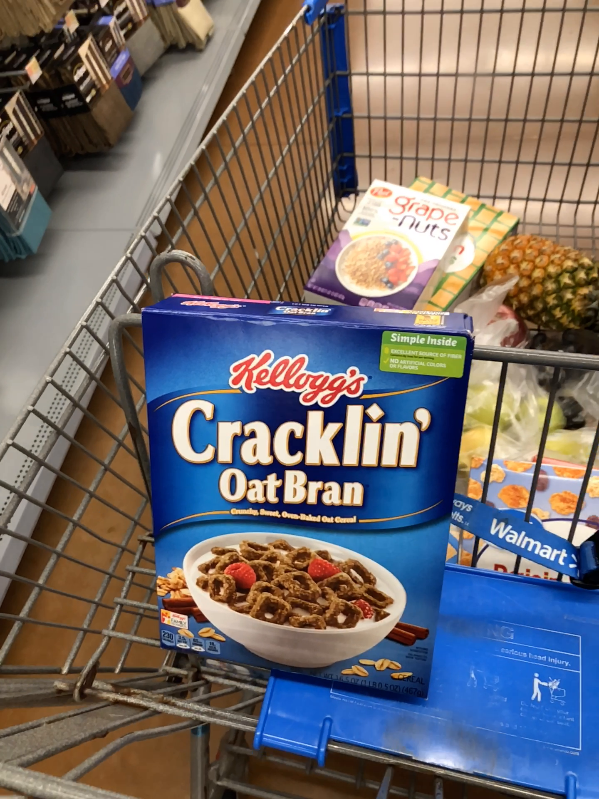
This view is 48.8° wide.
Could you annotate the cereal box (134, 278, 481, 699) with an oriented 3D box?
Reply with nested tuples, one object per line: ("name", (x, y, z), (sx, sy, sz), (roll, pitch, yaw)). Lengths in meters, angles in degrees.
("cereal box", (0.002, 0.059, 0.438), (0.200, 0.260, 0.050), (5, 20, 12))
